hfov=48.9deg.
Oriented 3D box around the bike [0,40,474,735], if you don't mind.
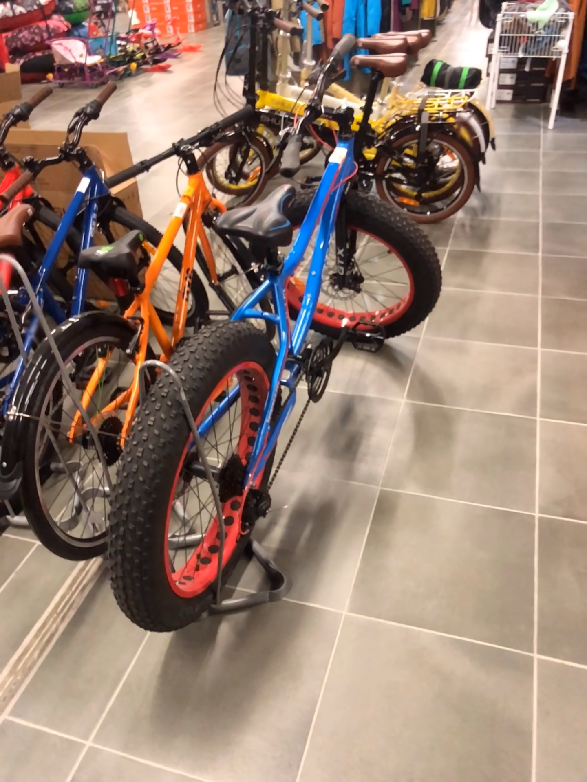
[{"bbox_3d":[0.026,-0.193,1.600,0.614,1.023,1.474,7,35,15],"label":"bike"}]
